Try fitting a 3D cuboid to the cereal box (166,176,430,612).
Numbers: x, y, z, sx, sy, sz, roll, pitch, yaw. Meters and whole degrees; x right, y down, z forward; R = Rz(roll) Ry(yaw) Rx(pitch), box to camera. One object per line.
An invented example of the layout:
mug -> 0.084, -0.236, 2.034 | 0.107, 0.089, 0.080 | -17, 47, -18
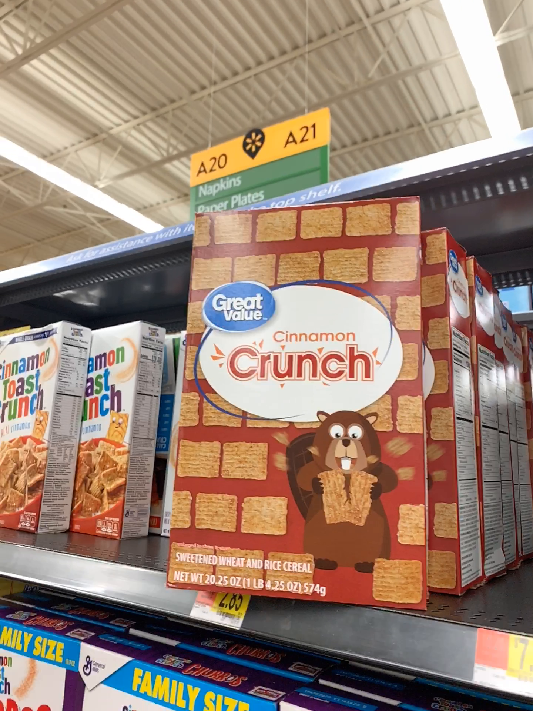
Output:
cereal box -> 0.032, 0.021, 0.463 | 0.190, 0.331, 0.070 | 0, -13, 10
